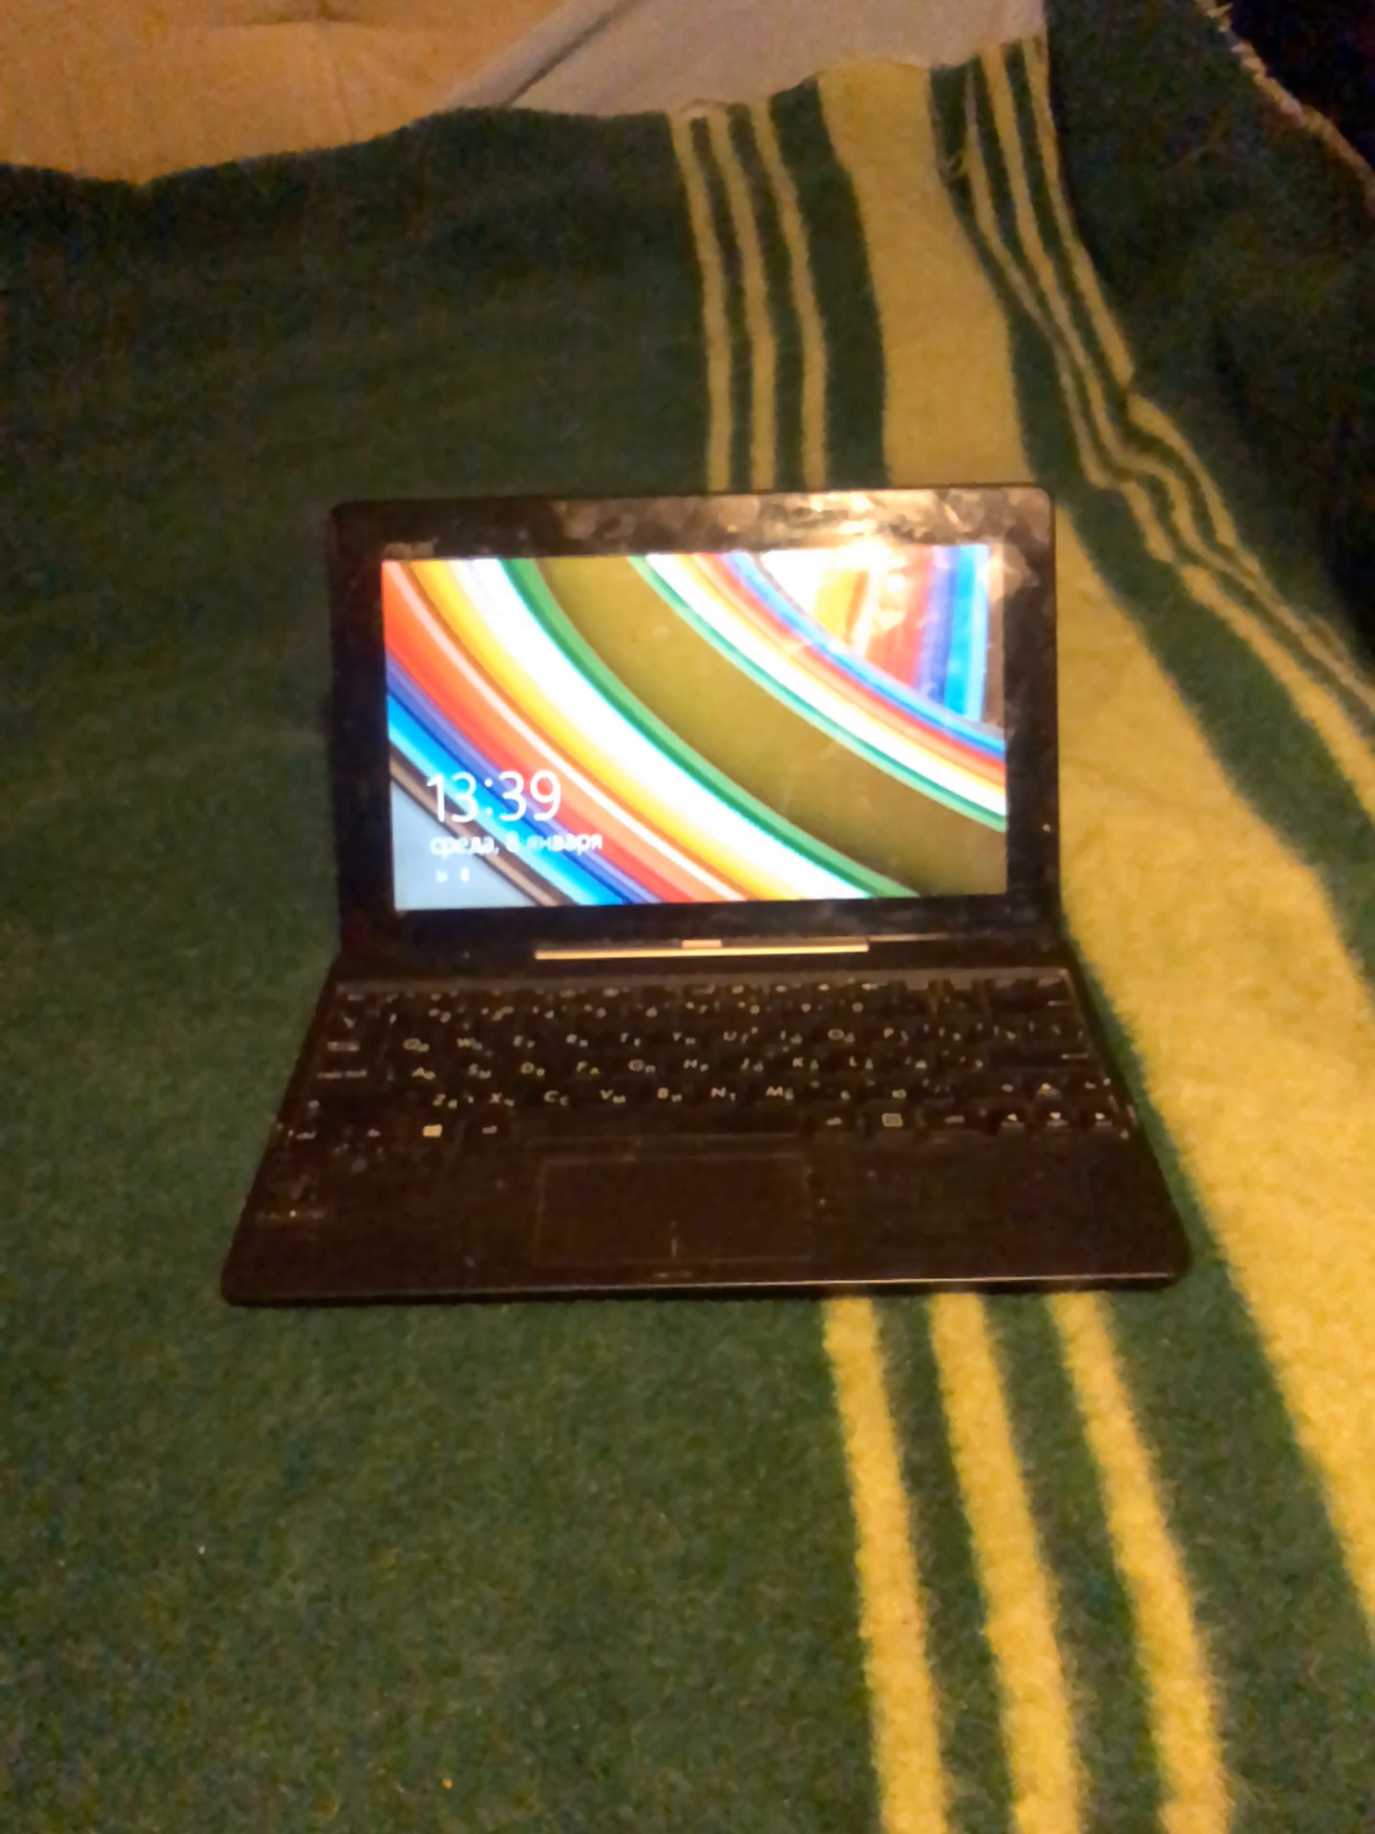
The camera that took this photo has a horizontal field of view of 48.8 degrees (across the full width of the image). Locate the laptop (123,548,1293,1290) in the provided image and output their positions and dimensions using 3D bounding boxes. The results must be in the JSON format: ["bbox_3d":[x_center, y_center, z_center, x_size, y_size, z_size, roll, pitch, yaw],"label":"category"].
[{"bbox_3d":[0.004,-0.016,0.479,0.257,0.116,0.258,-1,34,1],"label":"laptop"}]
